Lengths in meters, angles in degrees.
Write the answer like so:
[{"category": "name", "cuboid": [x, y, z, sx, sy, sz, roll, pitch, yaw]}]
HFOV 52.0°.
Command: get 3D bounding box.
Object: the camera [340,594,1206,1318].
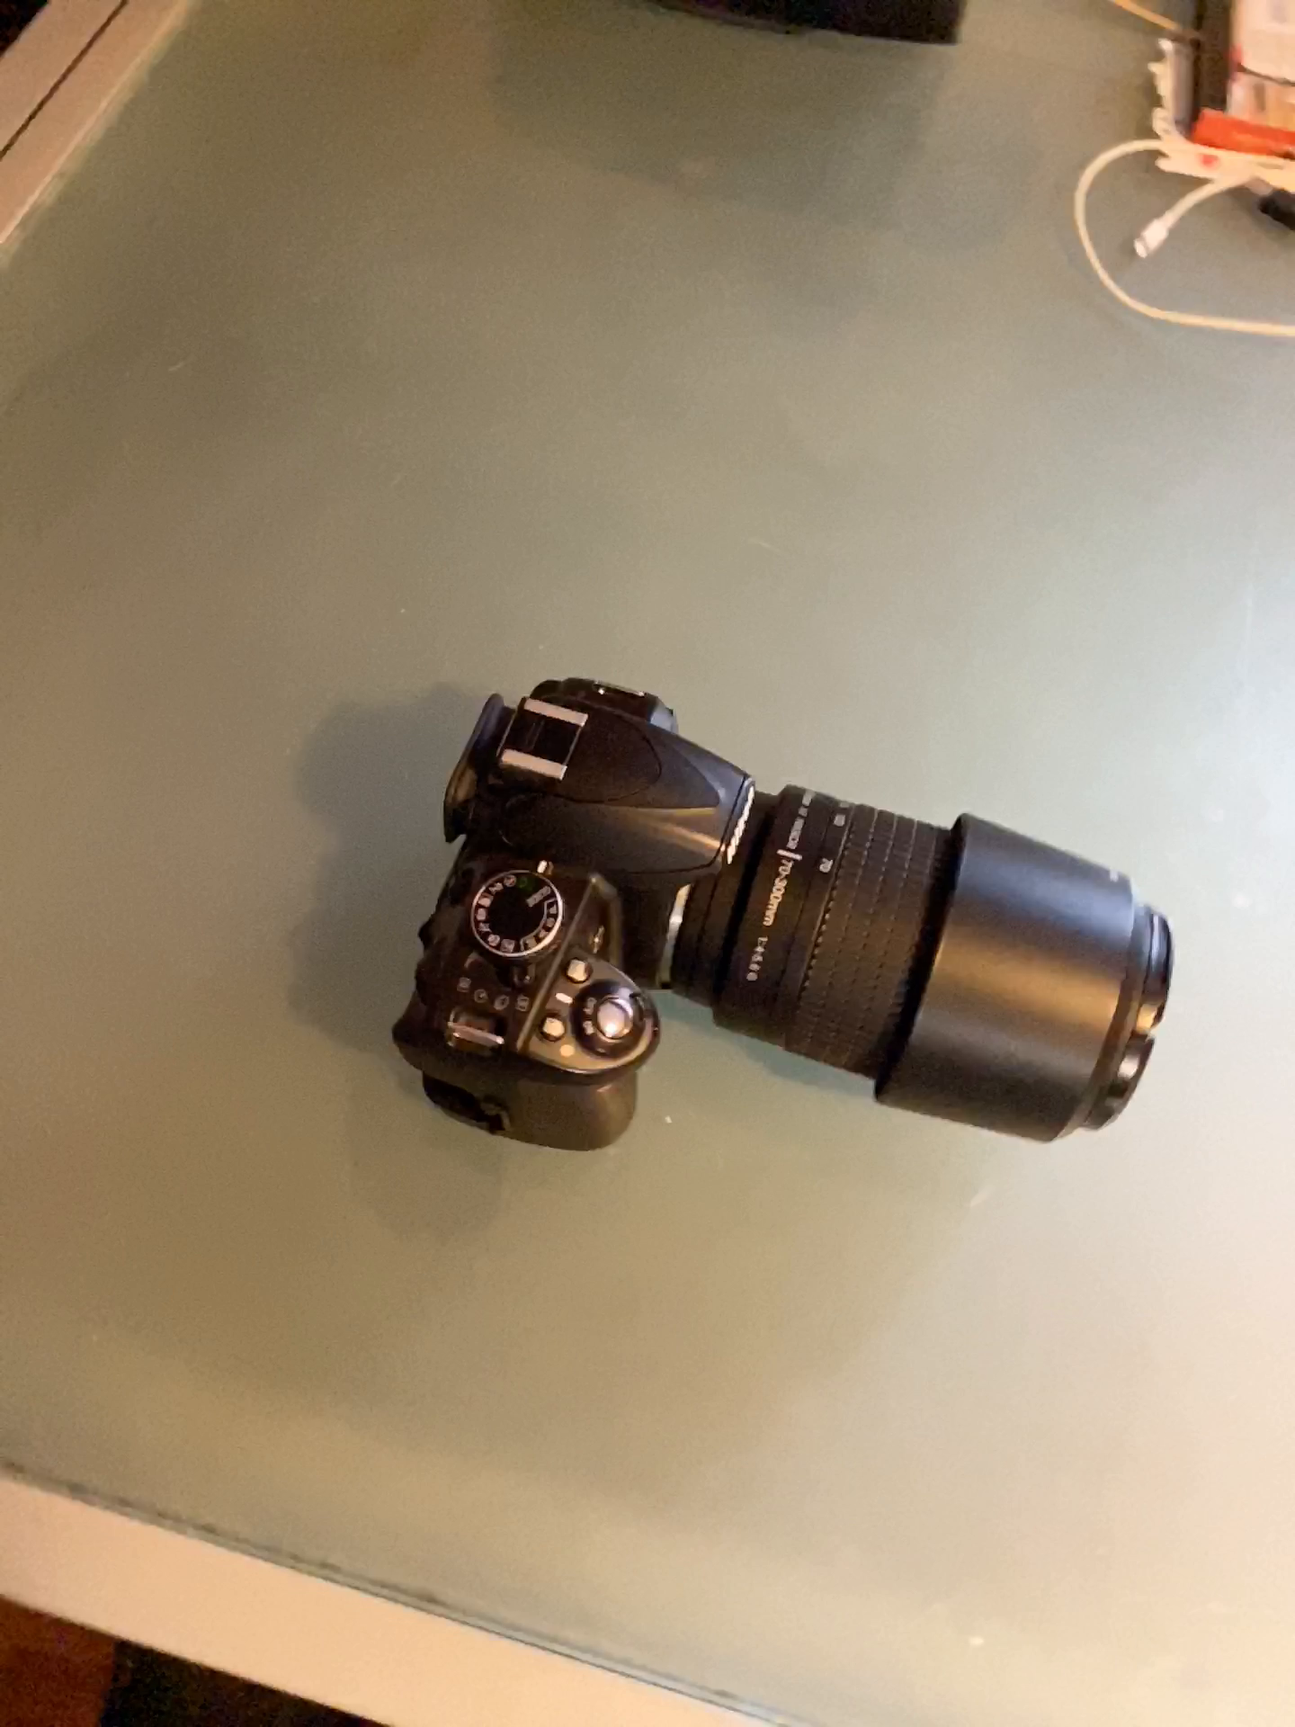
[{"category": "camera", "cuboid": [0.035, 0.027, 0.367, 0.188, 0.094, 0.124, 17, 64, 4]}]
